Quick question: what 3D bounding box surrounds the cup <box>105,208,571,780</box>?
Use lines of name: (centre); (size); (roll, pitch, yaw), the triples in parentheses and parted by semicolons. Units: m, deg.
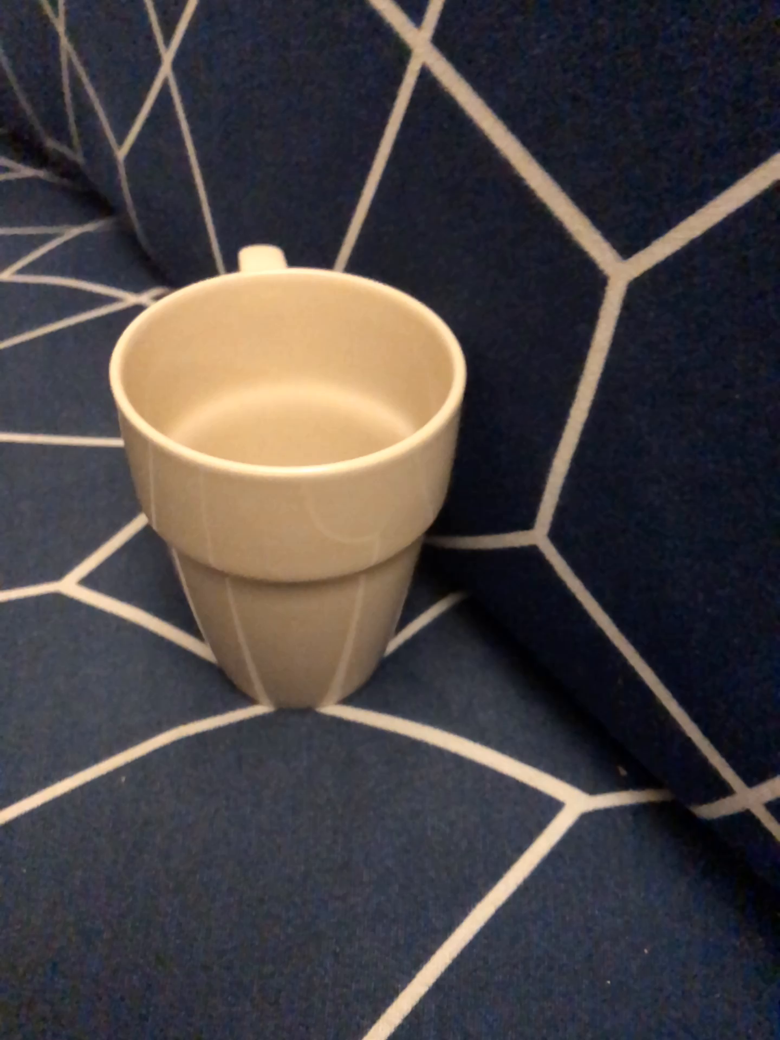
cup: (-0.021, -0.010, 0.242); (0.090, 0.109, 0.105); (-5, 44, -10)
